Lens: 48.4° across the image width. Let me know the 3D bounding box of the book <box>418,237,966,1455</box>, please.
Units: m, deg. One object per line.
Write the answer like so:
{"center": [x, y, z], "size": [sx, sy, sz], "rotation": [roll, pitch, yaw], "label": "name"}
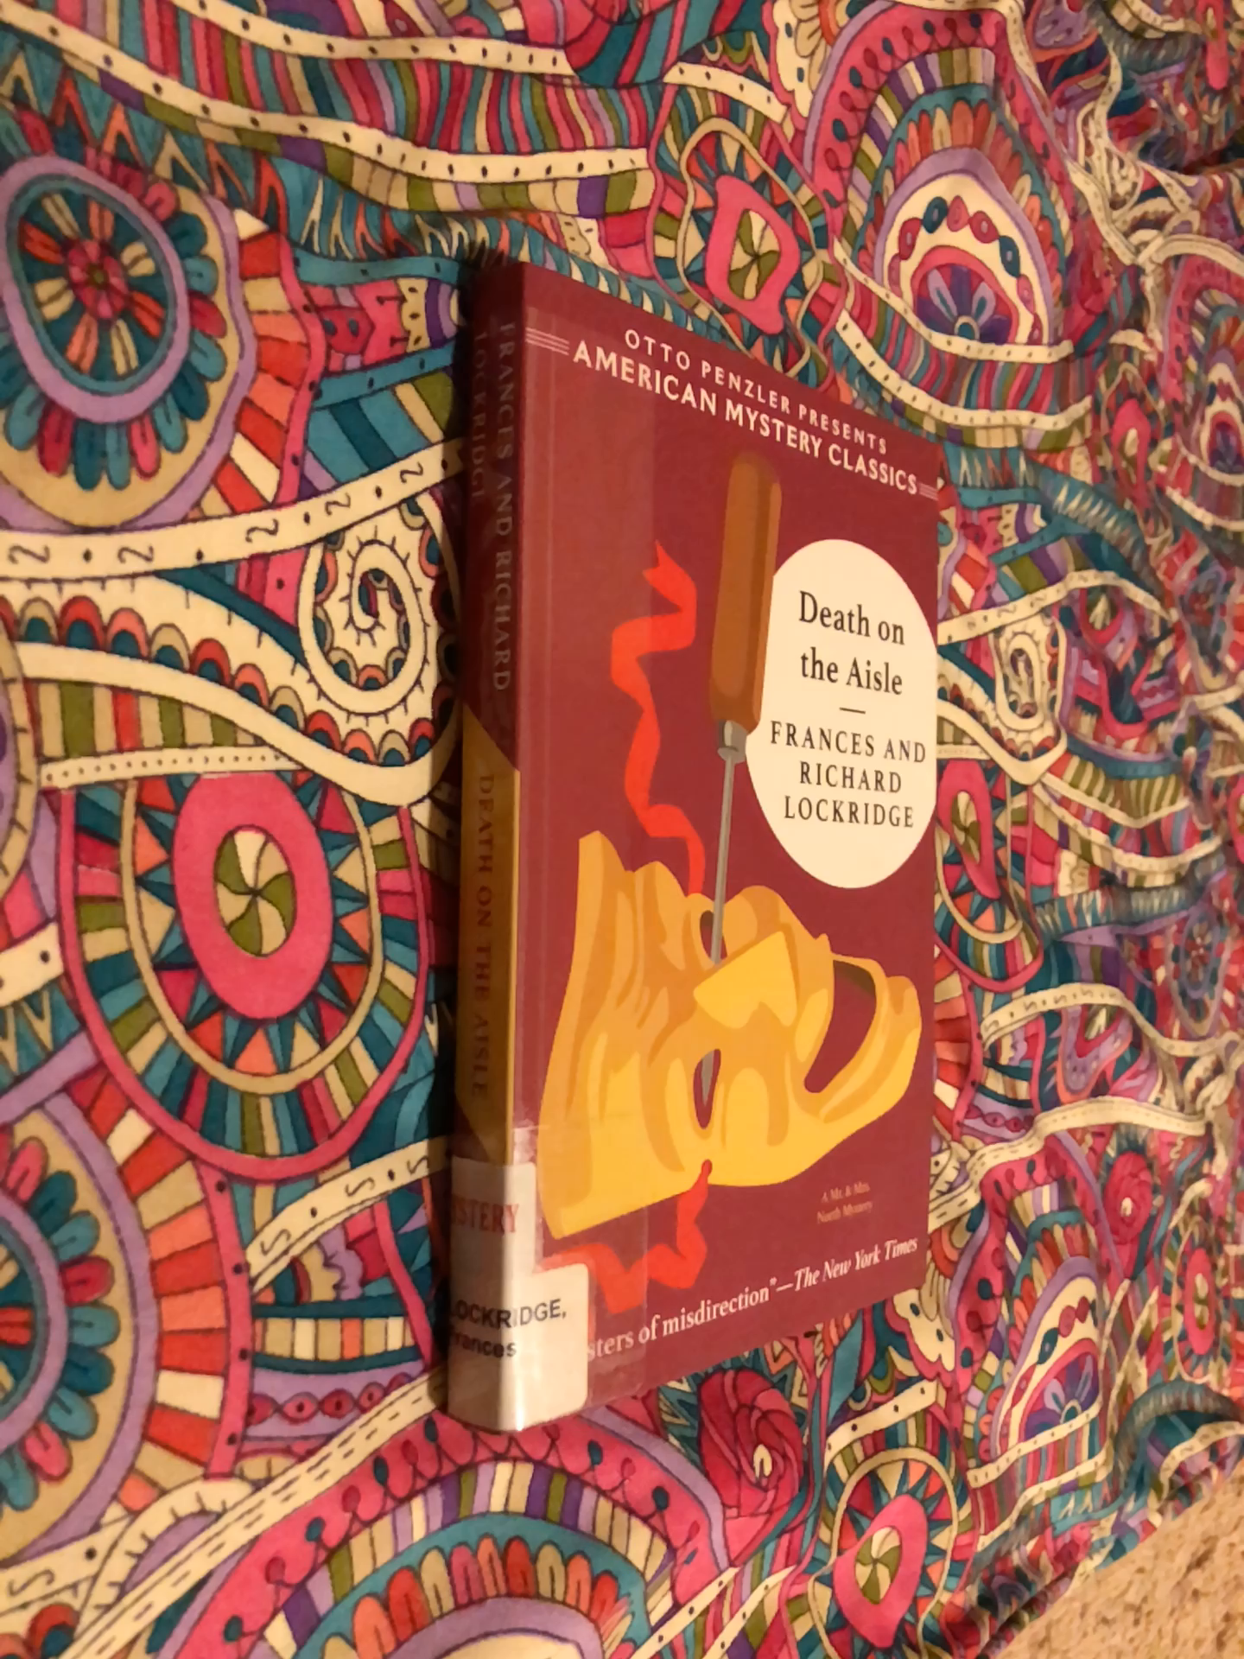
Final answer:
{"center": [0.023, 0.004, 0.281], "size": [0.138, 0.024, 0.196], "rotation": [3, 87, -47], "label": "book"}
